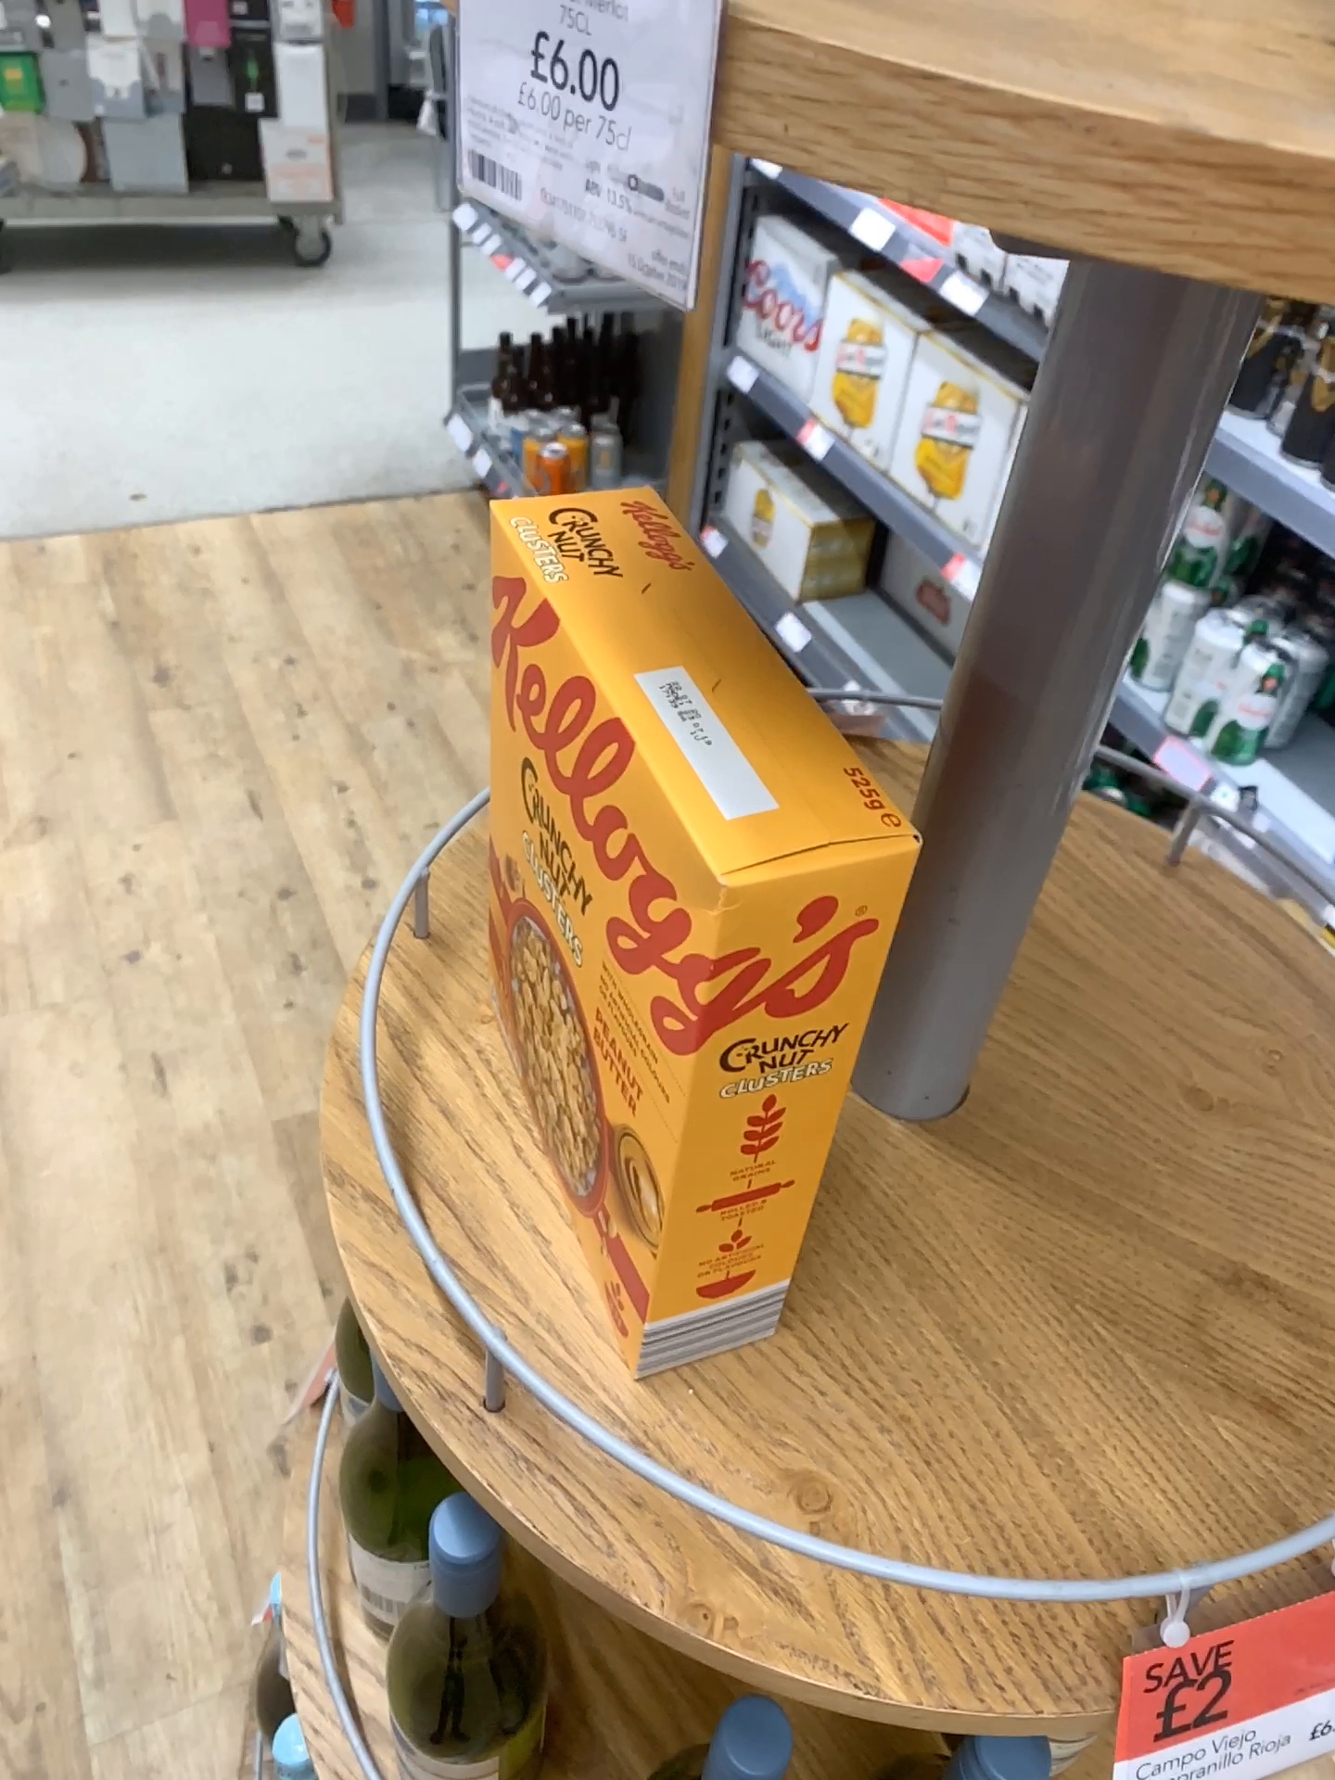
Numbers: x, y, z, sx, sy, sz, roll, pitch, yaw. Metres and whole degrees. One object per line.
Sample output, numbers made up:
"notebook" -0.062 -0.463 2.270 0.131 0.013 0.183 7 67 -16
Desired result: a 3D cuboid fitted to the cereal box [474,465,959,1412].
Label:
"cereal box" -0.008 0.016 0.473 0.060 0.238 0.212 -11 45 -20
